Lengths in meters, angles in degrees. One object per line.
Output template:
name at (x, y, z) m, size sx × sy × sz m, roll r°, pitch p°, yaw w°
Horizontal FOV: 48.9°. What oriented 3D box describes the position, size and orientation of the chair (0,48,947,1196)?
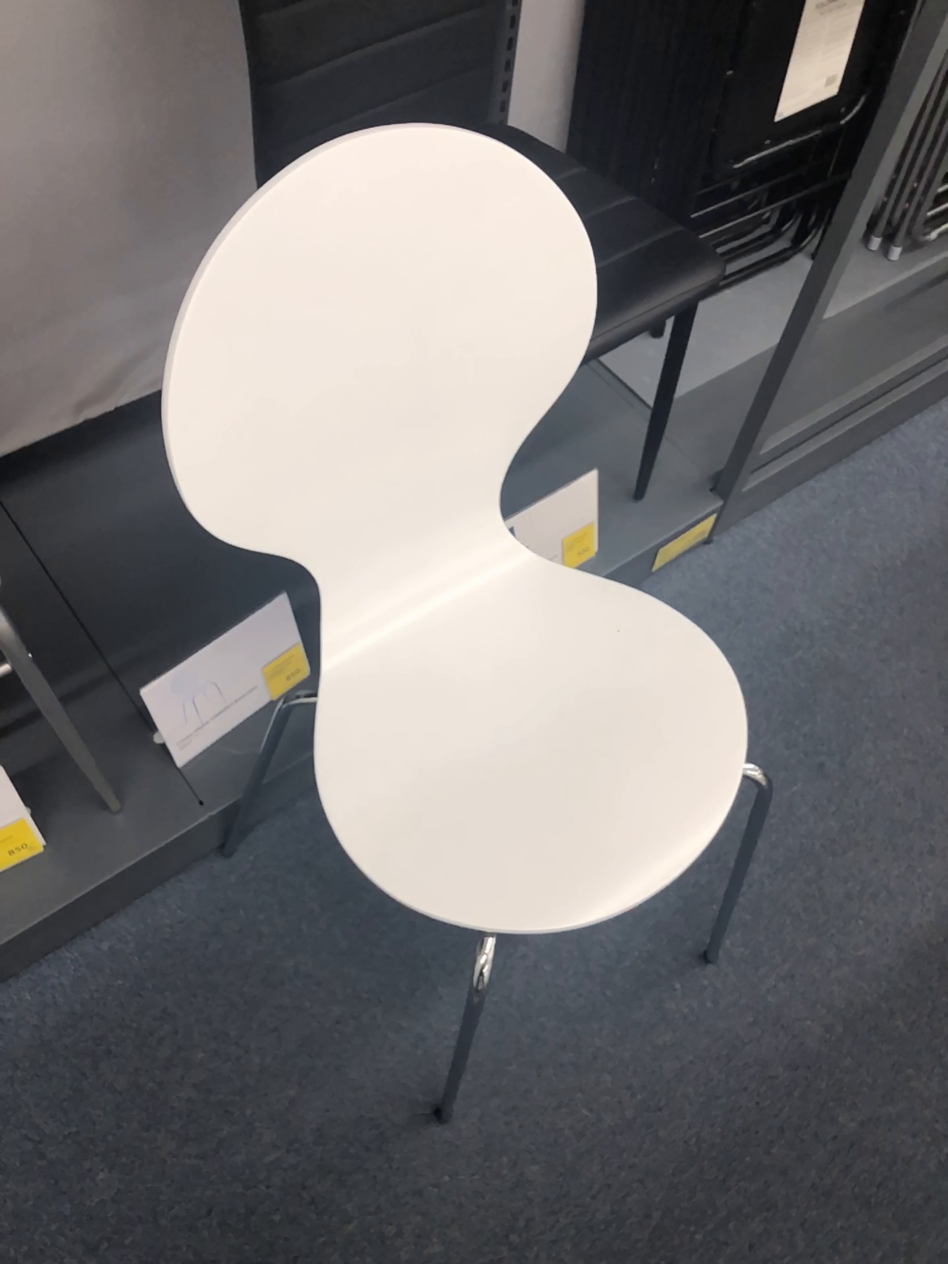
chair at (0.021, 0.077, 1.016) m, size 0.561 × 0.898 × 0.541 m, roll -26°, pitch 63°, yaw -22°
